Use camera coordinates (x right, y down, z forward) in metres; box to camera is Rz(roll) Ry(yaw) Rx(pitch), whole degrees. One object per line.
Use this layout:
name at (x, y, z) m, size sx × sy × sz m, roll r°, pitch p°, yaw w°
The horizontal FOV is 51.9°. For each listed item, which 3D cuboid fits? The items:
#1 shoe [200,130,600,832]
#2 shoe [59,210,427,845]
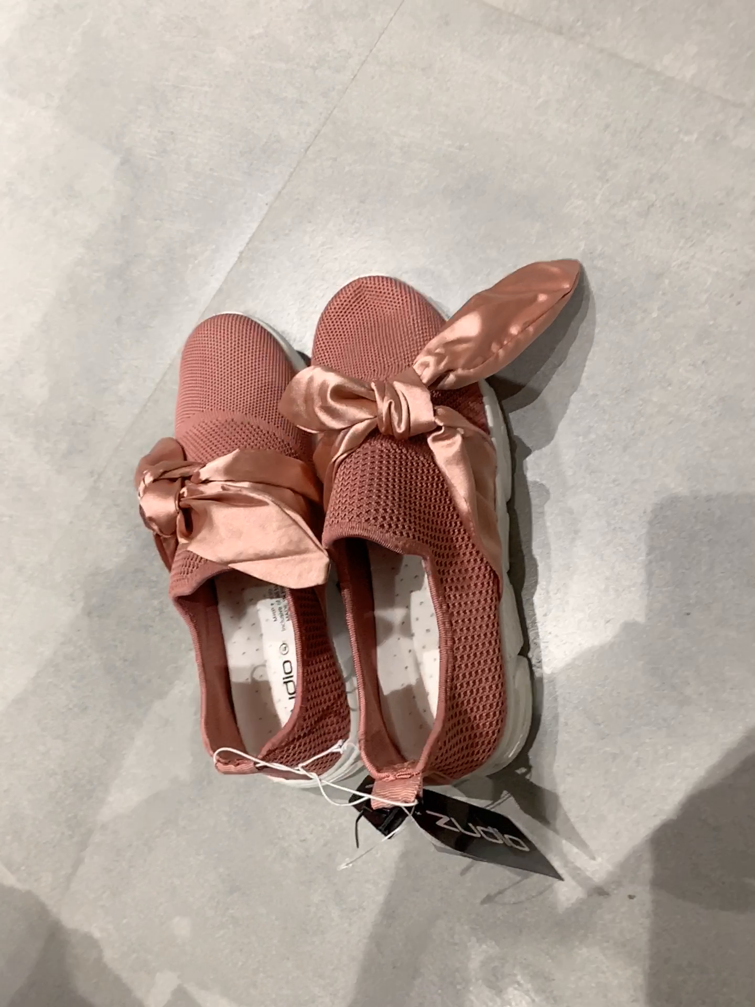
shoe at (0.012, -0.007, 0.363) m, size 0.110 × 0.100 × 0.270 m, roll -15°, pitch 78°, yaw 17°
shoe at (-0.068, 0.013, 0.398) m, size 0.110 × 0.100 × 0.270 m, roll -15°, pitch 78°, yaw 17°
